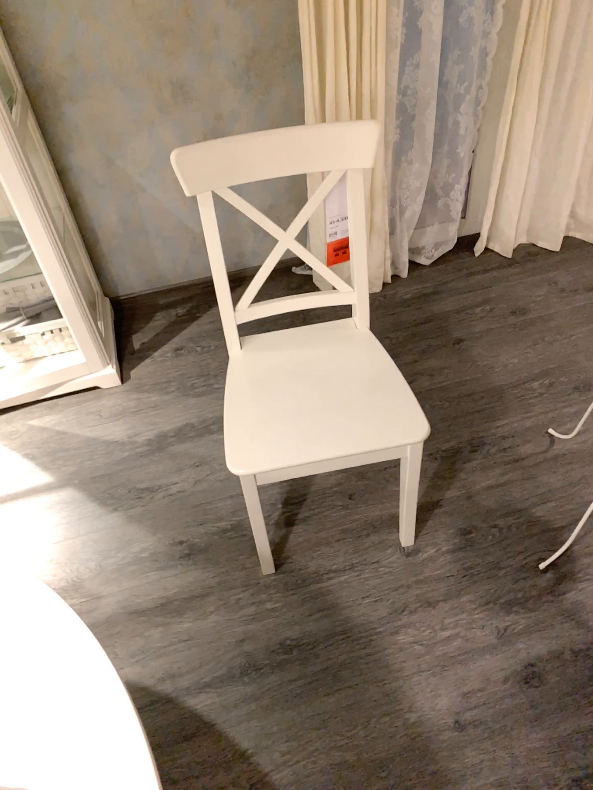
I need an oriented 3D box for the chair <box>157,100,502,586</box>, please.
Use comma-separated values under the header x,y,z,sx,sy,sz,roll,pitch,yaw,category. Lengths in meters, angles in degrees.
x,y,z,sx,sy,sz,roll,pitch,yaw,category
0.036,-0.072,1.281,0.450,0.807,0.542,-11,47,-5,chair
